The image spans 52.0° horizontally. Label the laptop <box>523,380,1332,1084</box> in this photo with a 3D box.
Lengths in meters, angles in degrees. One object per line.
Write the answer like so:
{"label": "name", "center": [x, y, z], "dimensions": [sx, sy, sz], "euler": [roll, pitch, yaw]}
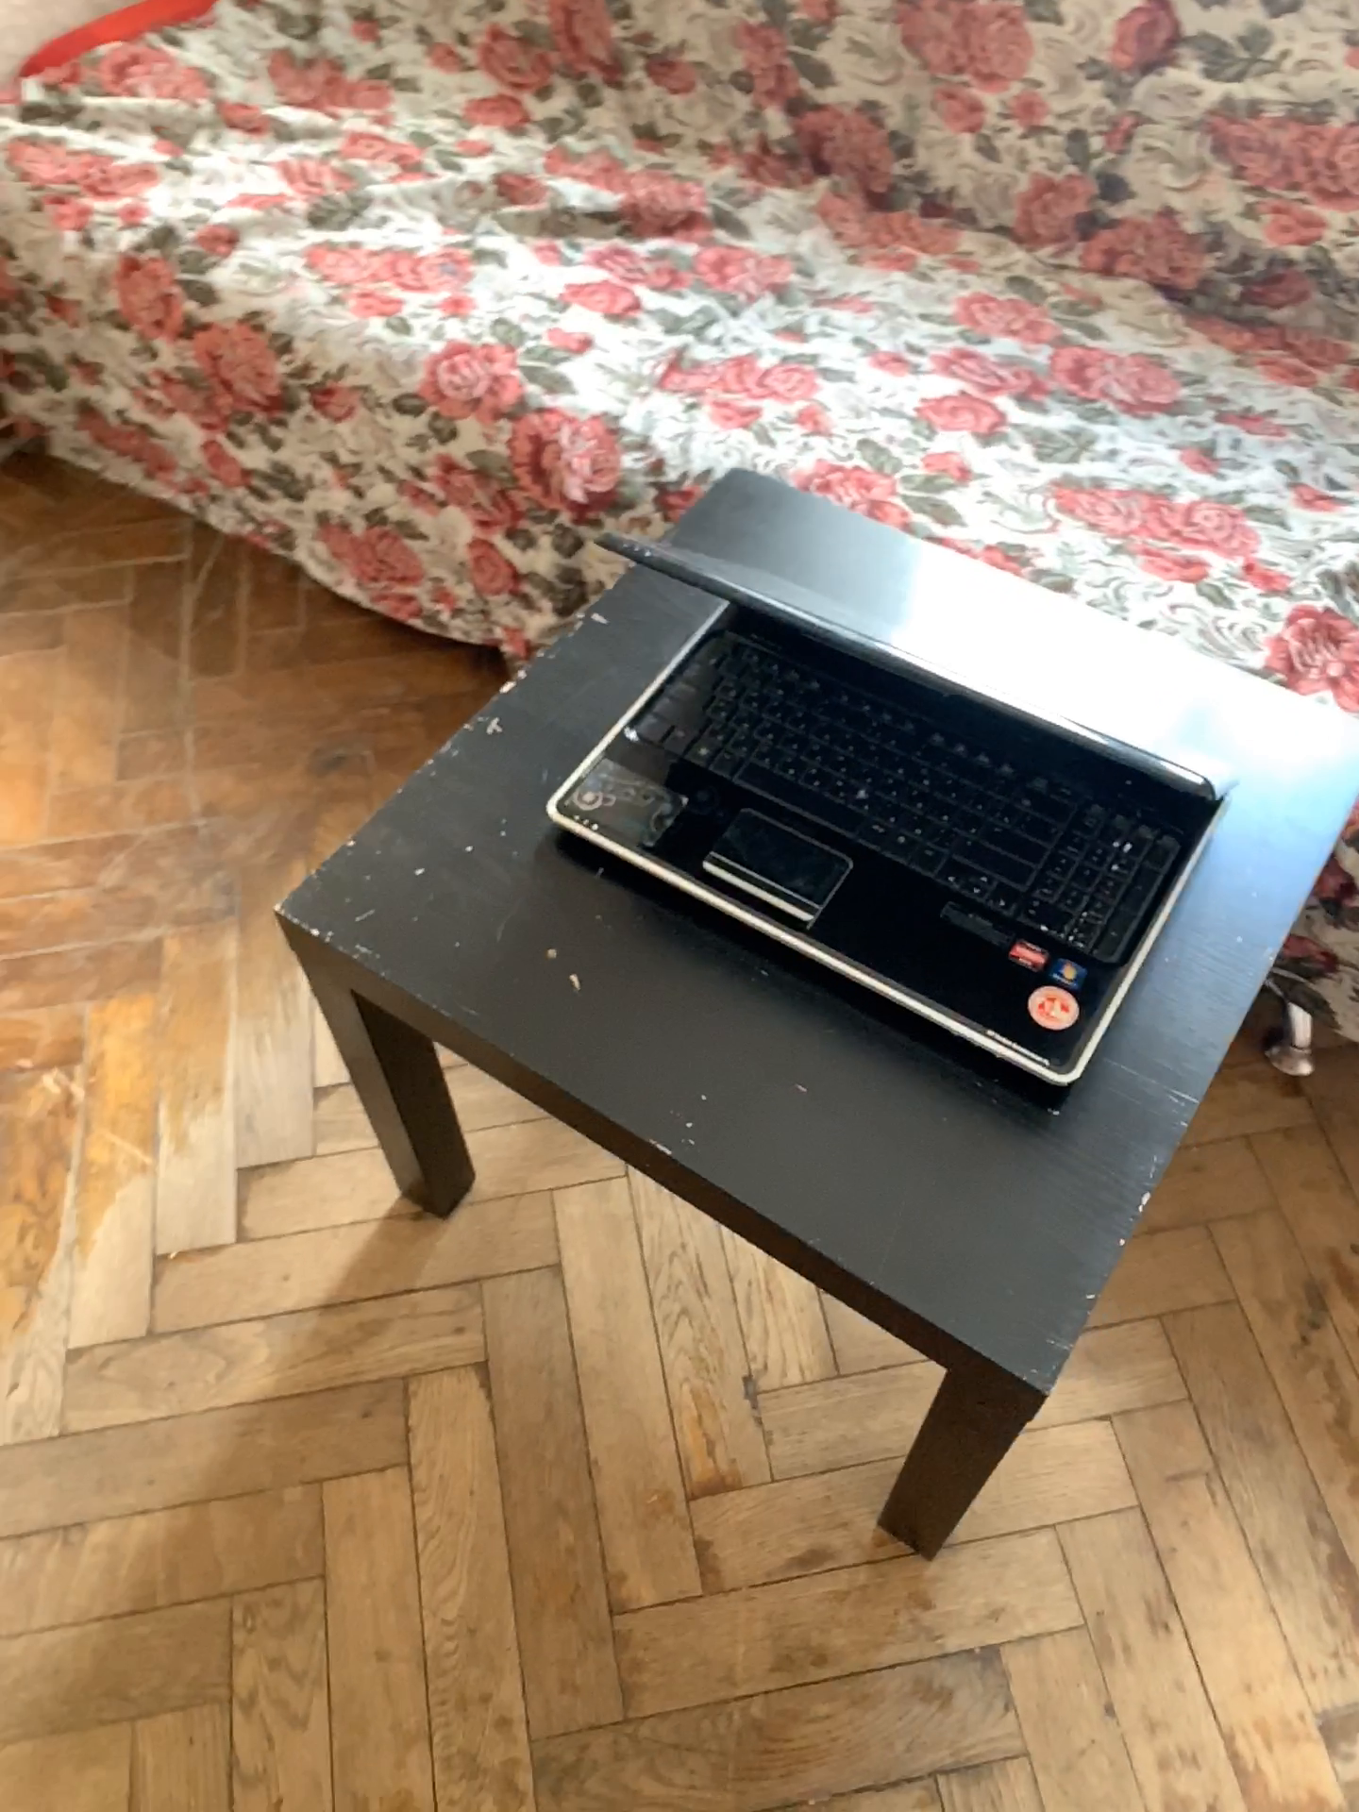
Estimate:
{"label": "laptop", "center": [0.136, -0.117, 0.838], "dimensions": [0.365, 0.177, 0.252], "euler": [28, 60, 20]}
